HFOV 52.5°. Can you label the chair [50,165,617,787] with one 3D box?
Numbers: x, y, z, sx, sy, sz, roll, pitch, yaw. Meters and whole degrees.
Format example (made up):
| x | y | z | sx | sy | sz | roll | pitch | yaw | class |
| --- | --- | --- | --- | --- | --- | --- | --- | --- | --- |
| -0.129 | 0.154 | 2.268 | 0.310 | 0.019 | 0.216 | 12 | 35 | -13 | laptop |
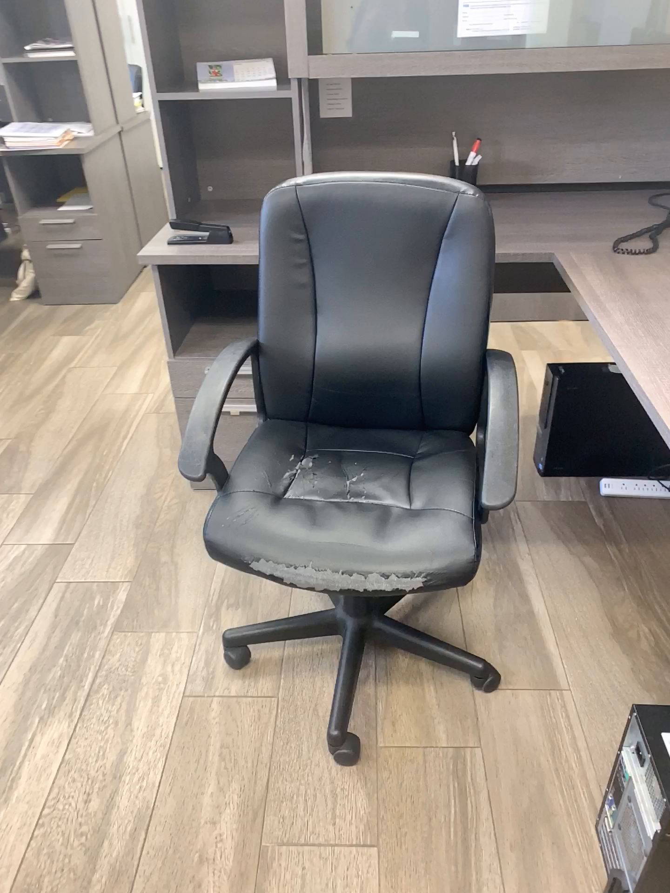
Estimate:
| x | y | z | sx | sy | sz | roll | pitch | yaw | class |
| --- | --- | --- | --- | --- | --- | --- | --- | --- | --- |
| 0.041 | 0.034 | 1.293 | 0.650 | 0.944 | 0.644 | 3 | 34 | 8 | chair |
